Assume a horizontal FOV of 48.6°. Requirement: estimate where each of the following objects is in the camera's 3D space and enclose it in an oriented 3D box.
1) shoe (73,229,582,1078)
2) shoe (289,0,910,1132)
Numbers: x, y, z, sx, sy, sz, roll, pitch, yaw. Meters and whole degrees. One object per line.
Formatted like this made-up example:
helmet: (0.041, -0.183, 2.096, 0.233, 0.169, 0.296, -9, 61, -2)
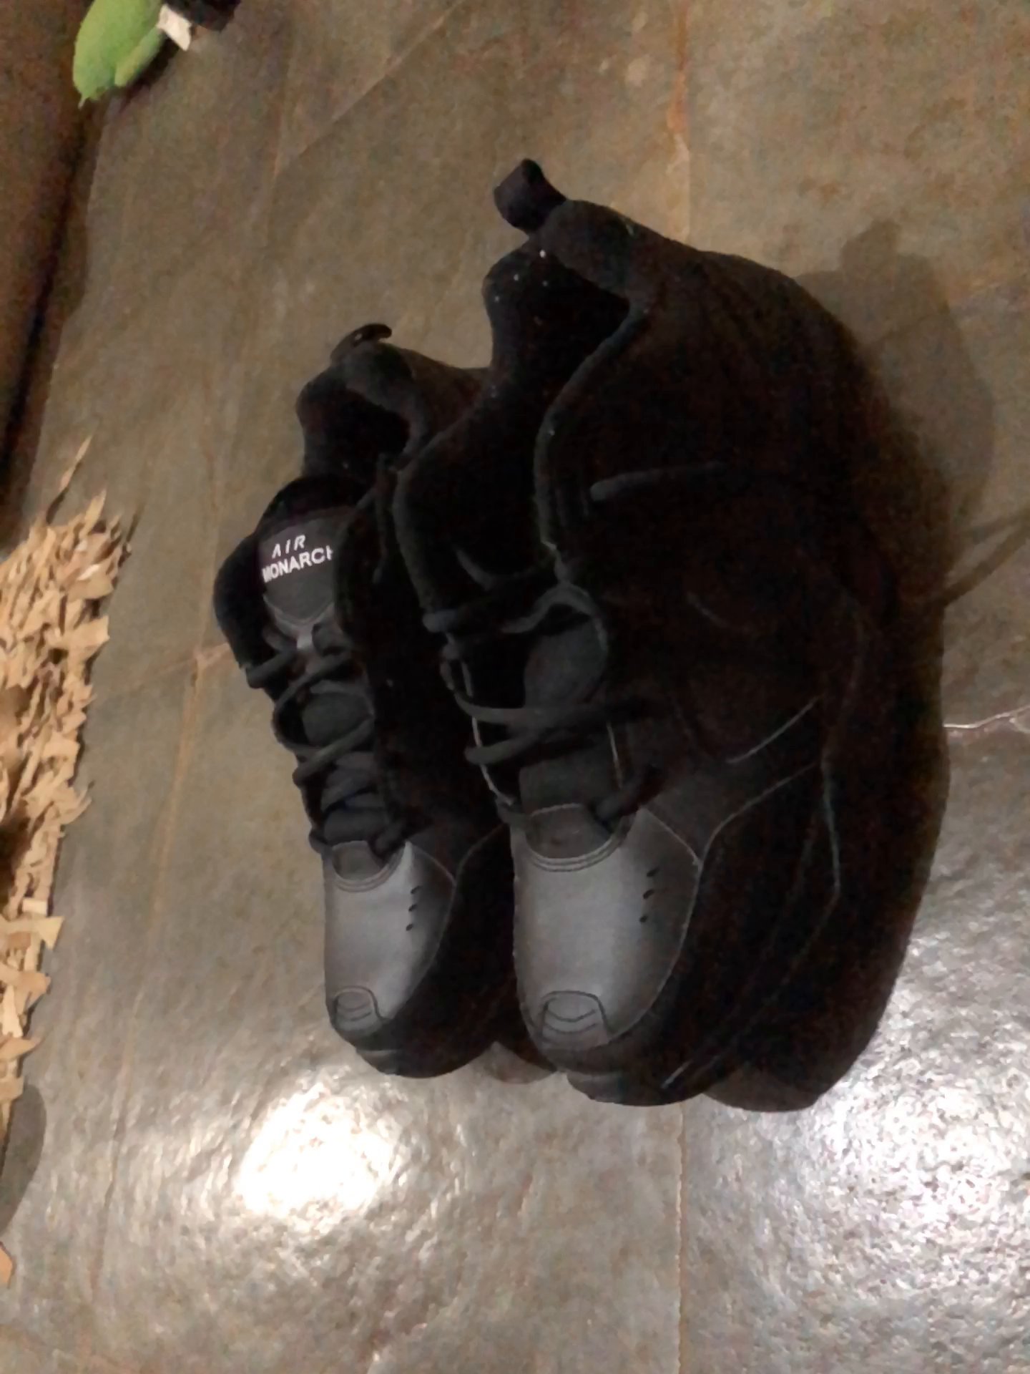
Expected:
shoe: (-0.062, -0.005, 0.434, 0.120, 0.109, 0.281, -17, 61, 43)
shoe: (0.032, -0.031, 0.350, 0.120, 0.109, 0.301, -15, 62, 44)
